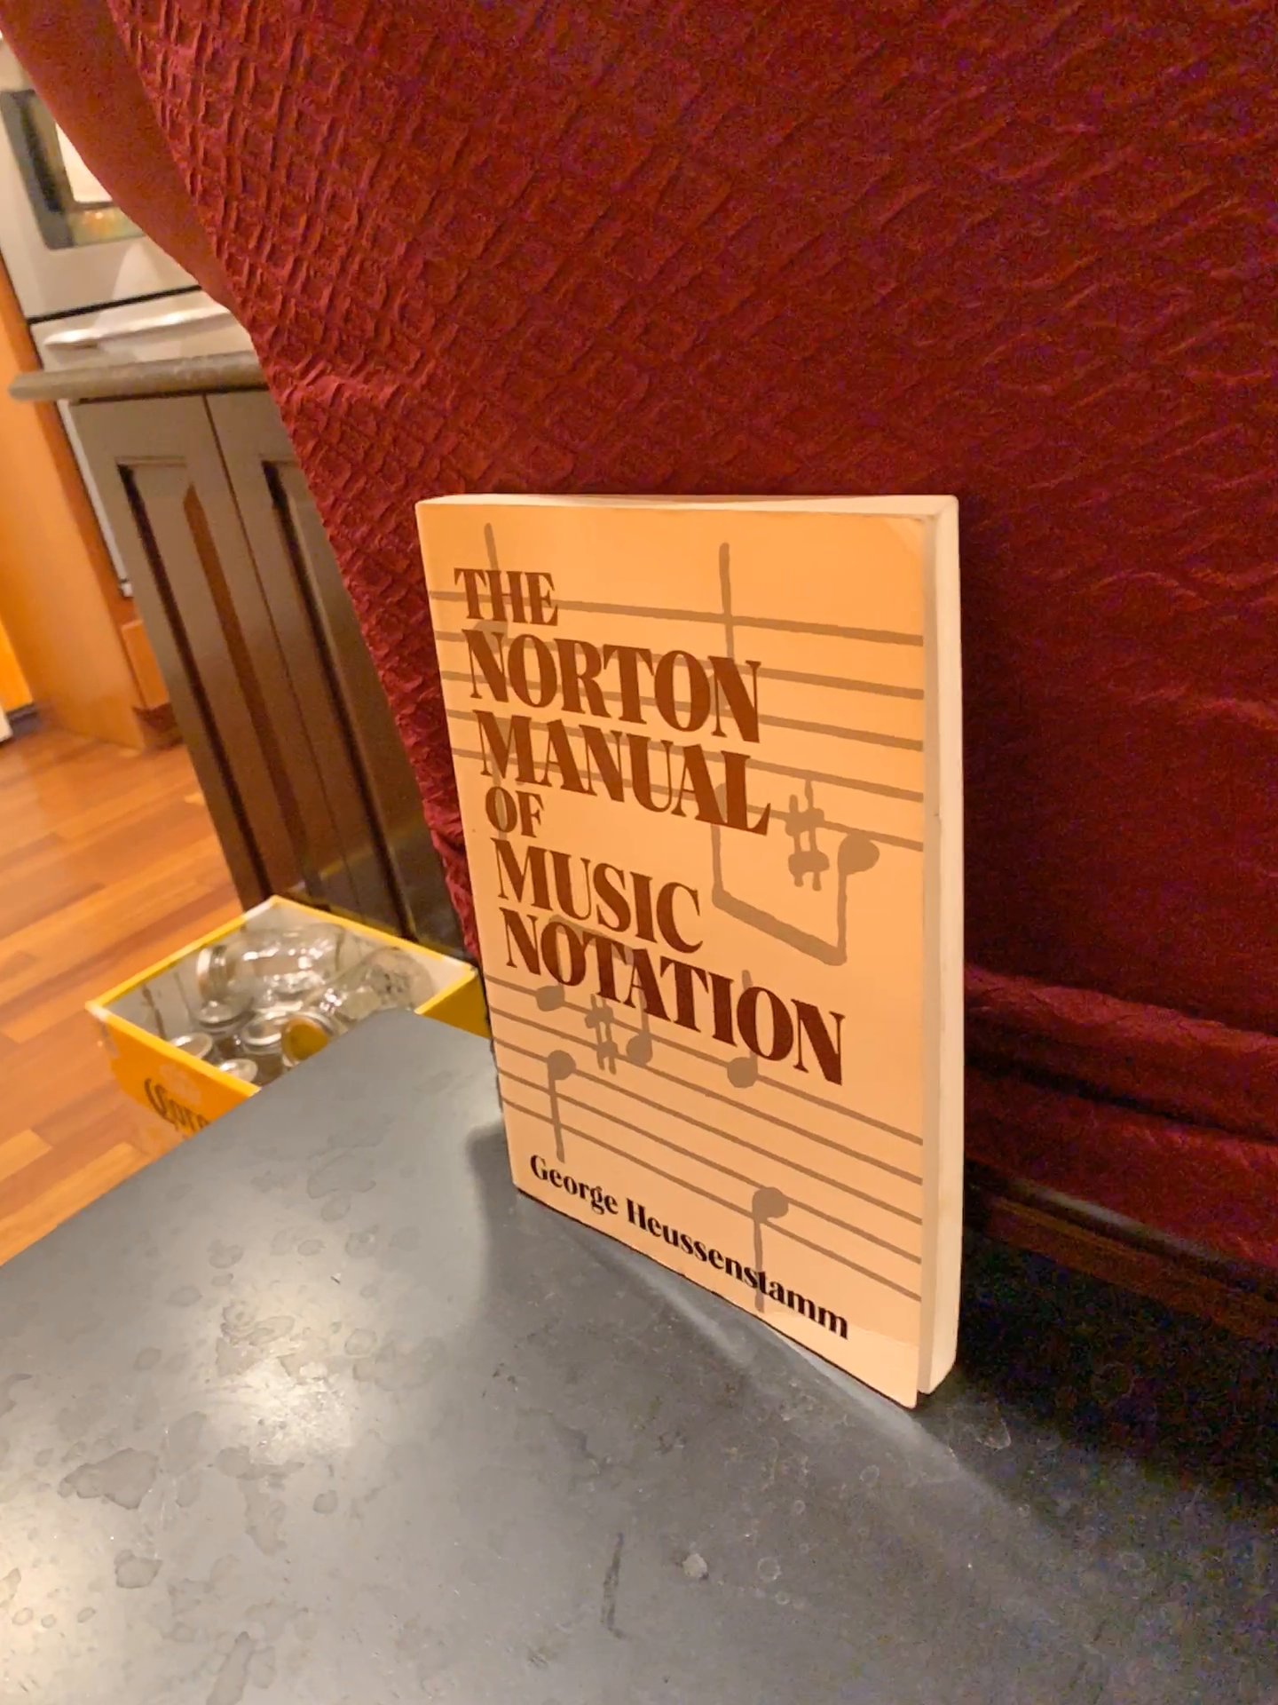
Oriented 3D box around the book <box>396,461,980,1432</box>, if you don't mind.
[{"bbox_3d":[0.013,0.020,0.393,0.181,0.259,0.030,15,29,42],"label":"book"}]
